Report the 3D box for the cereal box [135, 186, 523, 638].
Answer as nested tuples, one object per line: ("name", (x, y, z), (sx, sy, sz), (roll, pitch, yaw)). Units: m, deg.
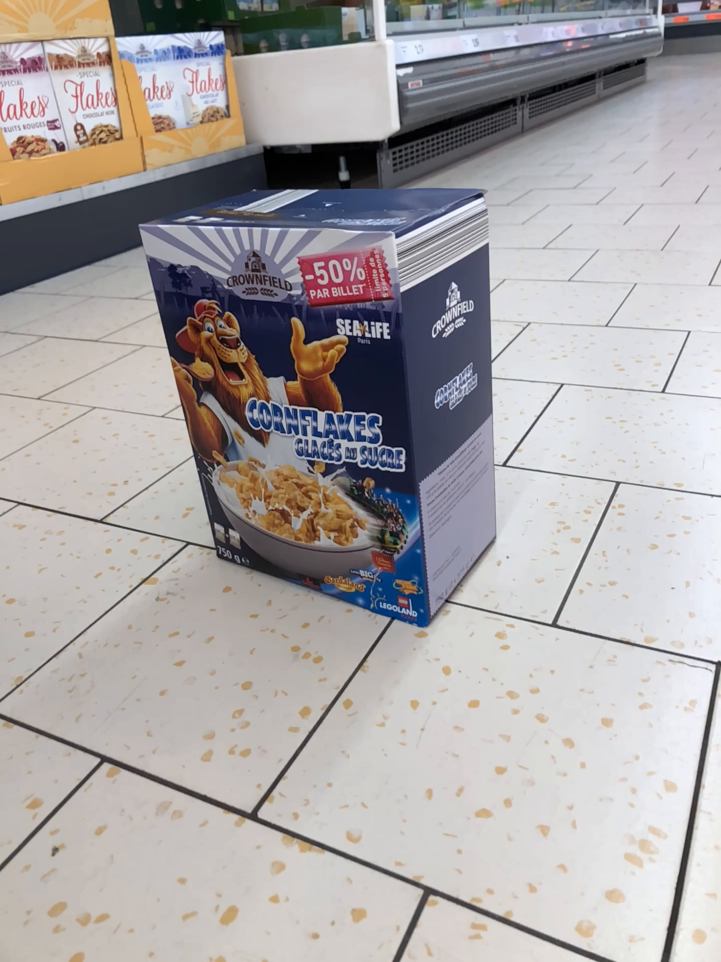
("cereal box", (-0.011, -0.061, 0.560), (0.210, 0.259, 0.131), (13, 33, 33))
